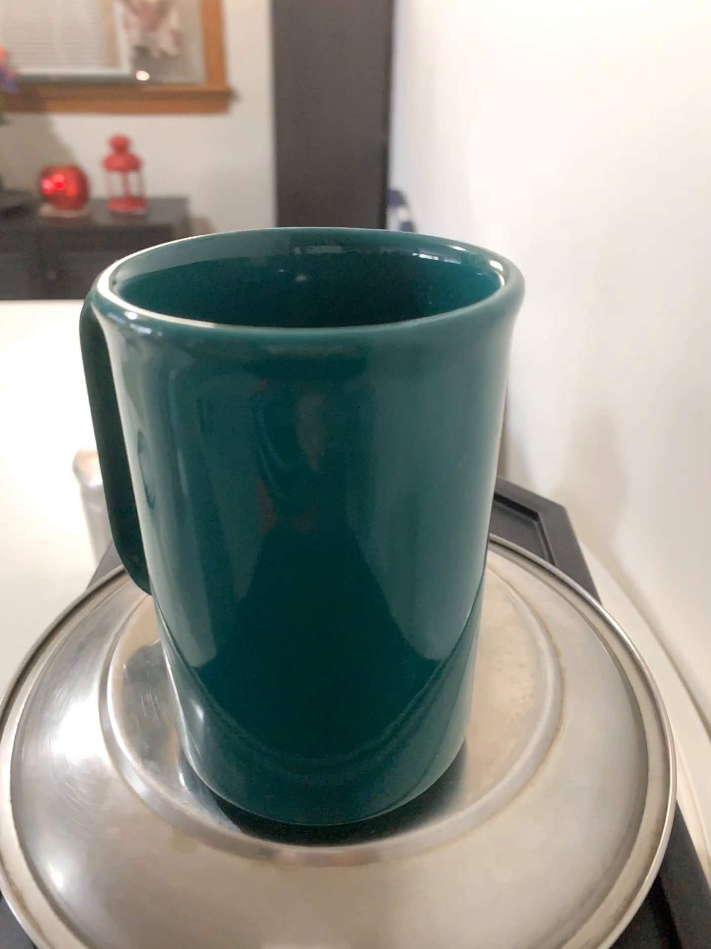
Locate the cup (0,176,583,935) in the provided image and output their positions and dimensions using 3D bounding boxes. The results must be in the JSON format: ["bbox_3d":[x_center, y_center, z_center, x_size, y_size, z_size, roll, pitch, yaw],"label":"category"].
[{"bbox_3d":[-0.029,0.003,0.175,0.120,0.119,0.080,20,35,31],"label":"cup"}]
